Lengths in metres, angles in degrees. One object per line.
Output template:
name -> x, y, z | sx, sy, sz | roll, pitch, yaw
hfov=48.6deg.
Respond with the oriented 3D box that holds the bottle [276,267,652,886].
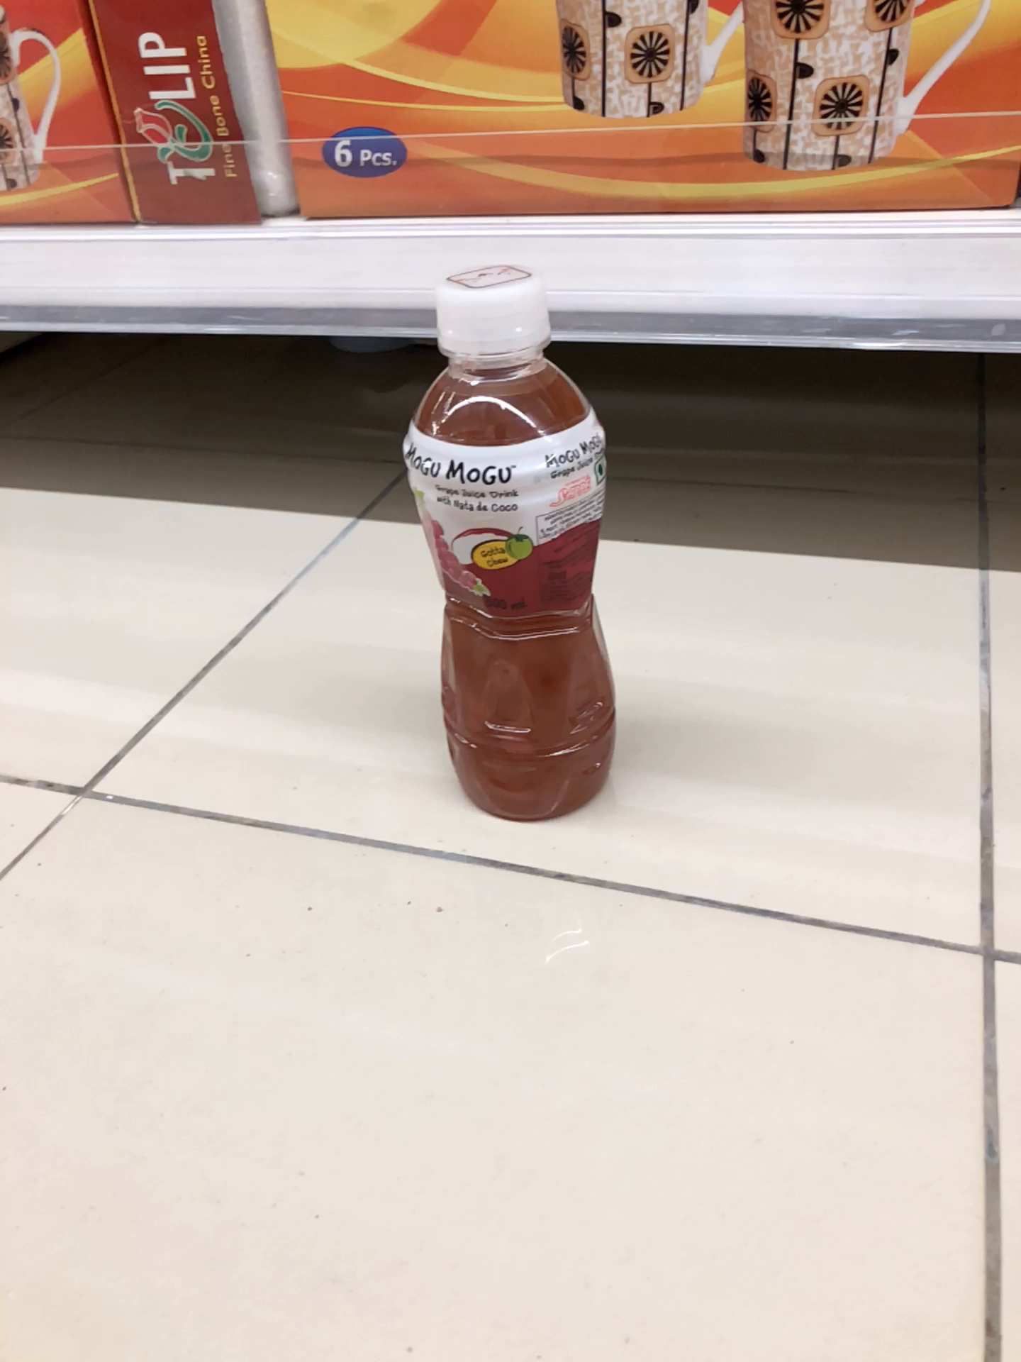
bottle -> -0.007, -0.032, 0.342 | 0.070, 0.159, 0.070 | -4, 32, 2
